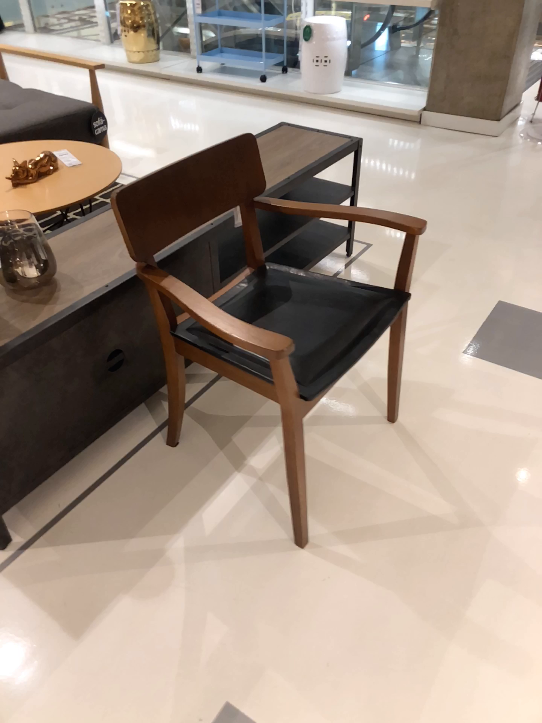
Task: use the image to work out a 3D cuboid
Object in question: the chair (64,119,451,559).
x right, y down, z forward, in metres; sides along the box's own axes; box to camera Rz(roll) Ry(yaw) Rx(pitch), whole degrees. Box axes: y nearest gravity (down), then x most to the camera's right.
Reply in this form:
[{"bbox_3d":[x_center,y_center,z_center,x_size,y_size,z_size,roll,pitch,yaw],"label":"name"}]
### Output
[{"bbox_3d":[-0.003,-0.086,1.440,0.571,0.744,0.563,22,44,27],"label":"chair"}]
